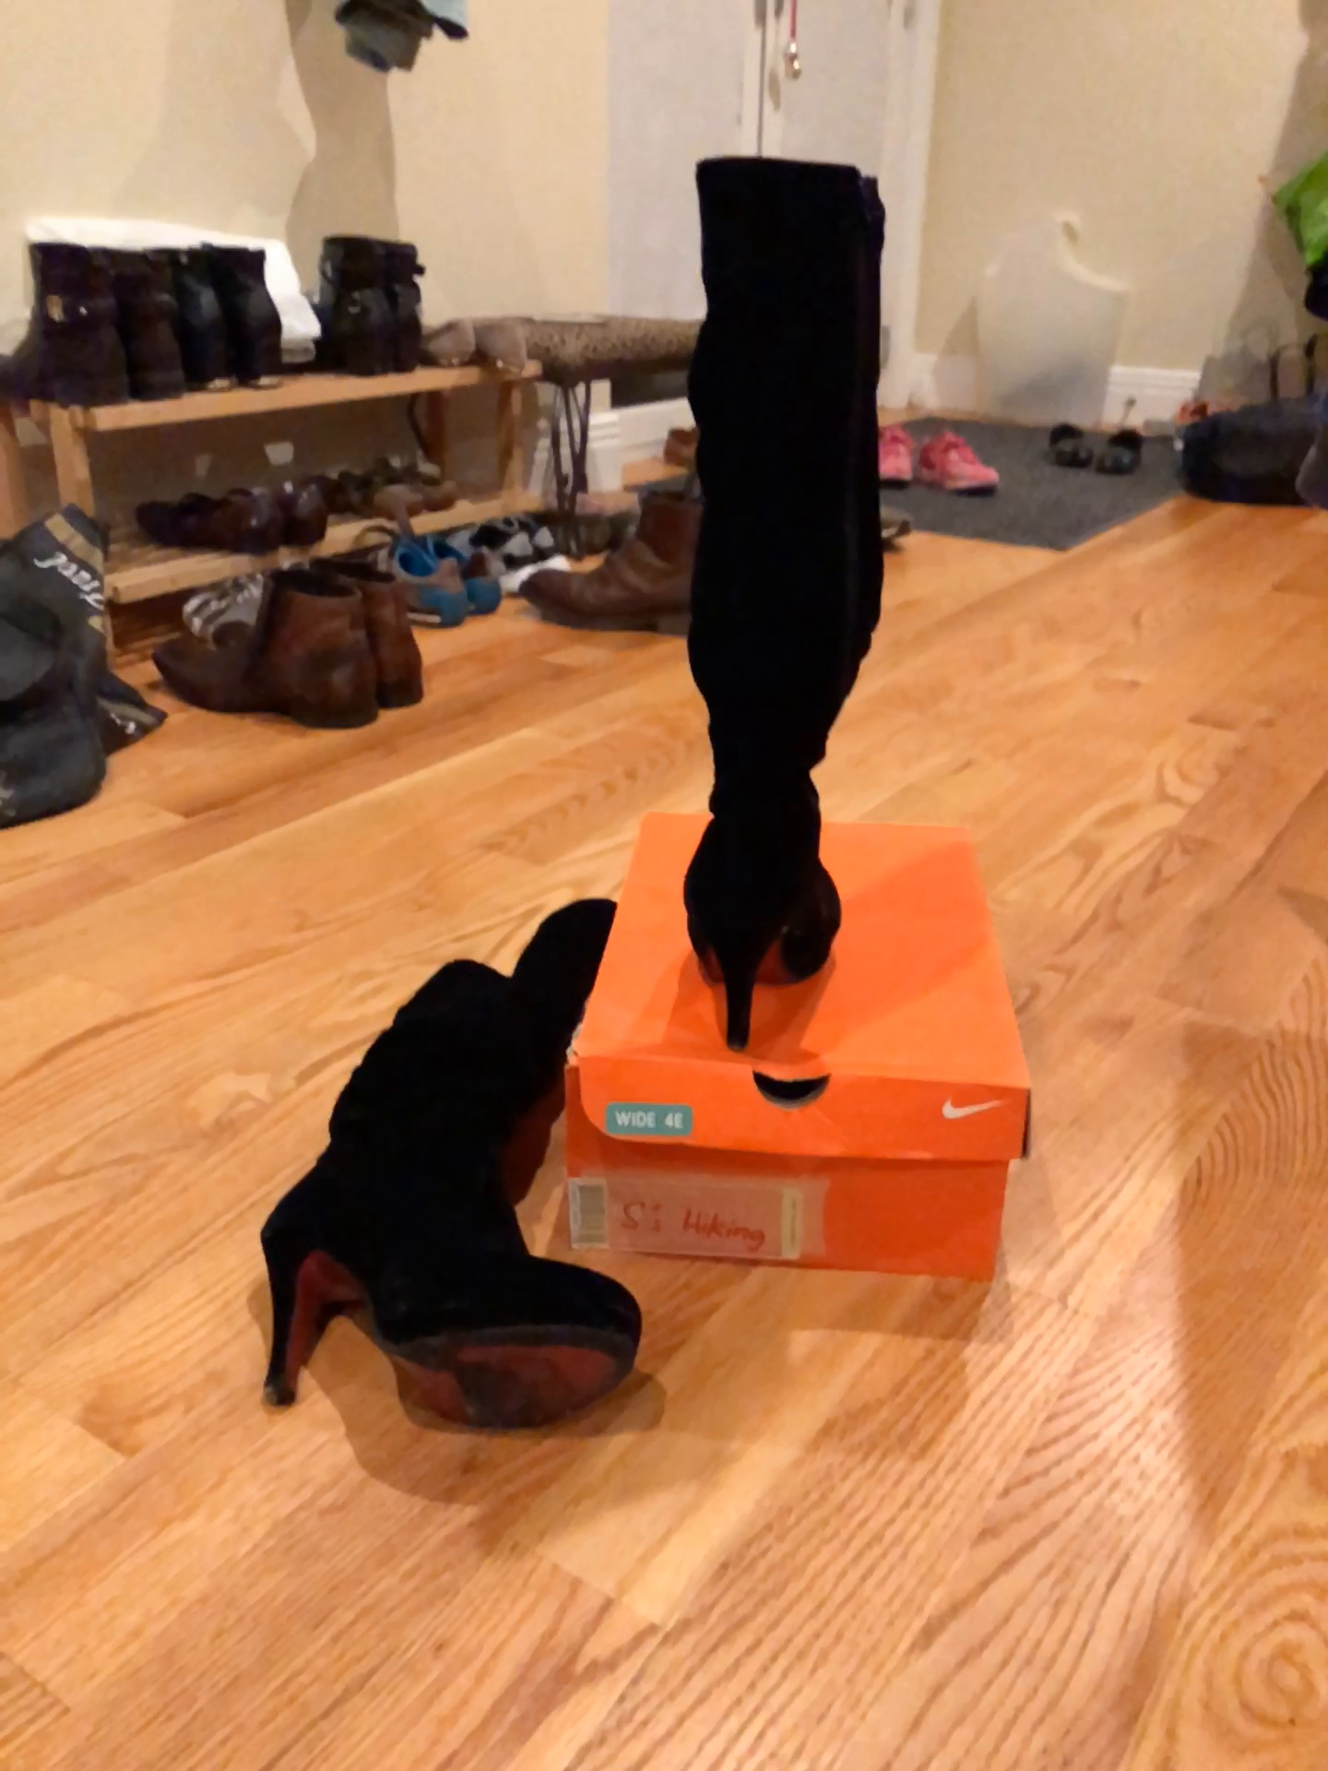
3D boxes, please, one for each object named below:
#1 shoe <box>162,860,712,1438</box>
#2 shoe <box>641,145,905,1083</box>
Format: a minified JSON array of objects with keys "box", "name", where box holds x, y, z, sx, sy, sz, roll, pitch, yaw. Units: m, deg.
[{"box":[-0.087,0.109,0.792,0.206,0.089,0.401,1,25,5],"name":"shoe"},{"box":[0.054,-0.136,0.715,0.089,0.397,0.217,5,25,9],"name":"shoe"}]
